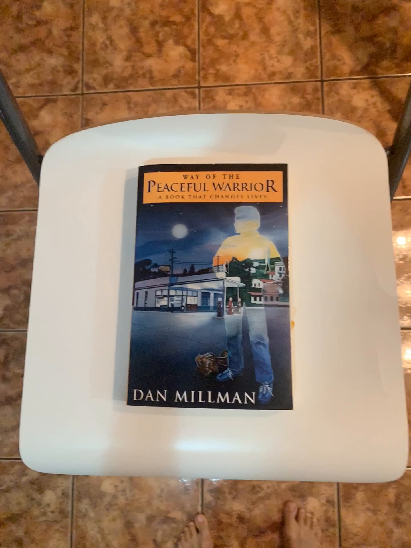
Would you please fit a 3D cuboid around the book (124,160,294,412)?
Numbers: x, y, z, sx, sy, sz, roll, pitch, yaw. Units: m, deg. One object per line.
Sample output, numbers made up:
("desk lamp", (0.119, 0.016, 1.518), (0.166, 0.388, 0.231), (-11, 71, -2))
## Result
("book", (0.006, 0.008, 0.376), (0.141, 0.039, 0.210), (1, 84, 6))
